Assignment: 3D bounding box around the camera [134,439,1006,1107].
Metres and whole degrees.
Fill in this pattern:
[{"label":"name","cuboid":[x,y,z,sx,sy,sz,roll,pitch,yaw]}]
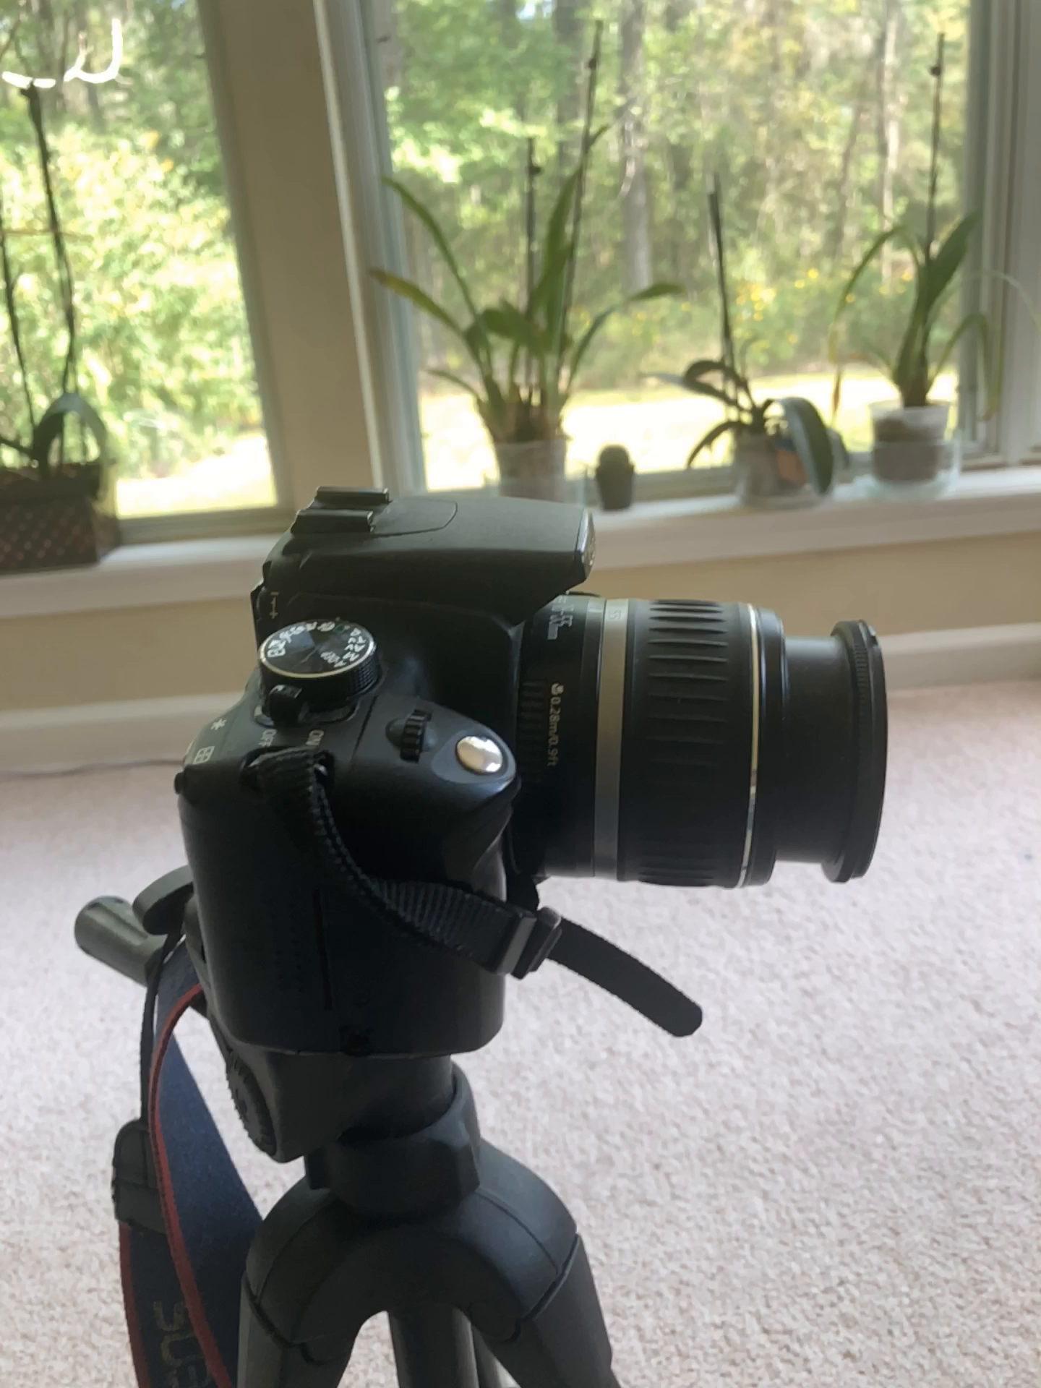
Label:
[{"label":"camera","cuboid":[0.010,0.007,0.268,0.142,0.093,0.131,2,28,3]}]
